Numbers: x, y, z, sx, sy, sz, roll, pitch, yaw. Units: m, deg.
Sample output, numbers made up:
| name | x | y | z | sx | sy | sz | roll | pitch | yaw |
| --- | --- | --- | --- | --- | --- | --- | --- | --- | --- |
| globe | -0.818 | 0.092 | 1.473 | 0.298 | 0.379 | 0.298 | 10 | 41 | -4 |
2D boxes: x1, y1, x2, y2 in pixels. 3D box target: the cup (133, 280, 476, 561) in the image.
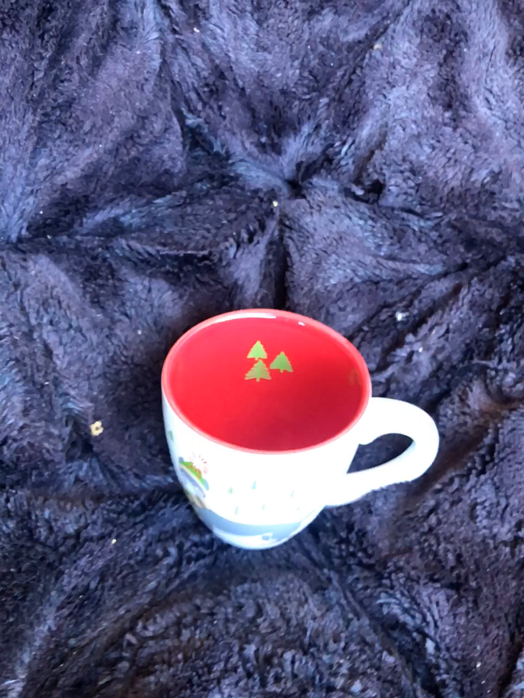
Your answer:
| name | x | y | z | sx | sy | sz | roll | pitch | yaw |
| --- | --- | --- | --- | --- | --- | --- | --- | --- | --- |
| cup | 0.015 | 0.040 | 0.314 | 0.140 | 0.110 | 0.100 | 1 | 46 | -2 |
